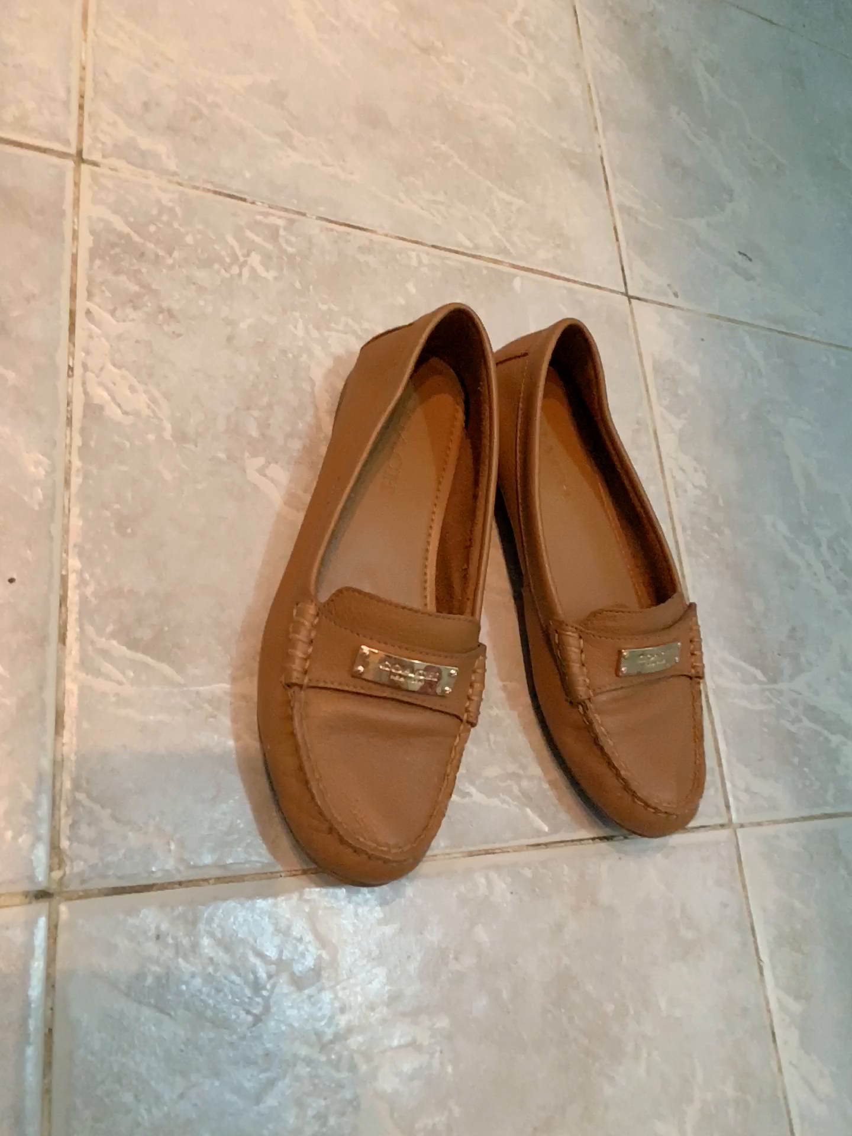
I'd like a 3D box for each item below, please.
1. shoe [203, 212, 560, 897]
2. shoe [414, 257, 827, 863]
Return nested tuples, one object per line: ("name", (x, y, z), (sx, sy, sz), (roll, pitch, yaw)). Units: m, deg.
("shoe", (-0.011, -0.007, 0.340), (0.083, 0.071, 0.243), (17, 65, -21))
("shoe", (0.077, -0.007, 0.381), (0.085, 0.071, 0.242), (-8, 76, -29))
